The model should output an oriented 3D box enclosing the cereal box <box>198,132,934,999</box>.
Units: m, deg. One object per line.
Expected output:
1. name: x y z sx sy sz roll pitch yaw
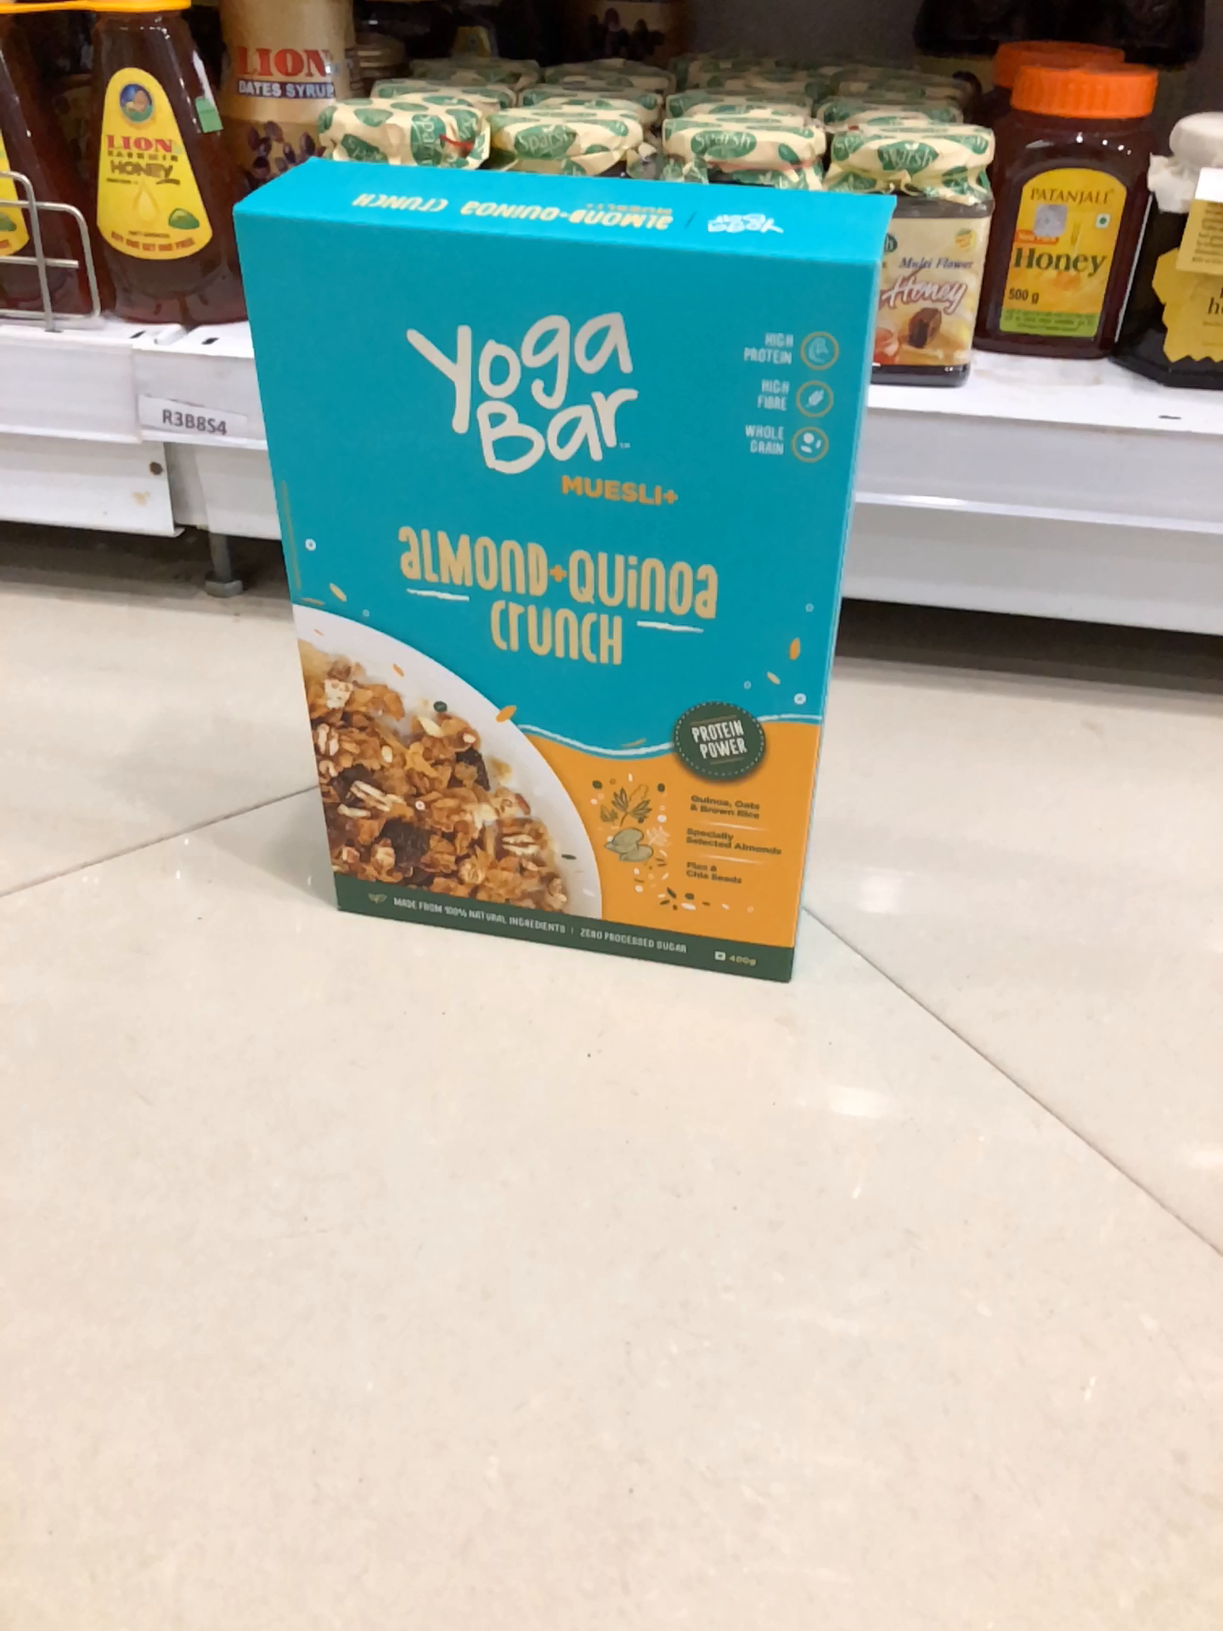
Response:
1. cereal box: -0.010 -0.064 0.397 0.170 0.228 0.060 8 37 10
